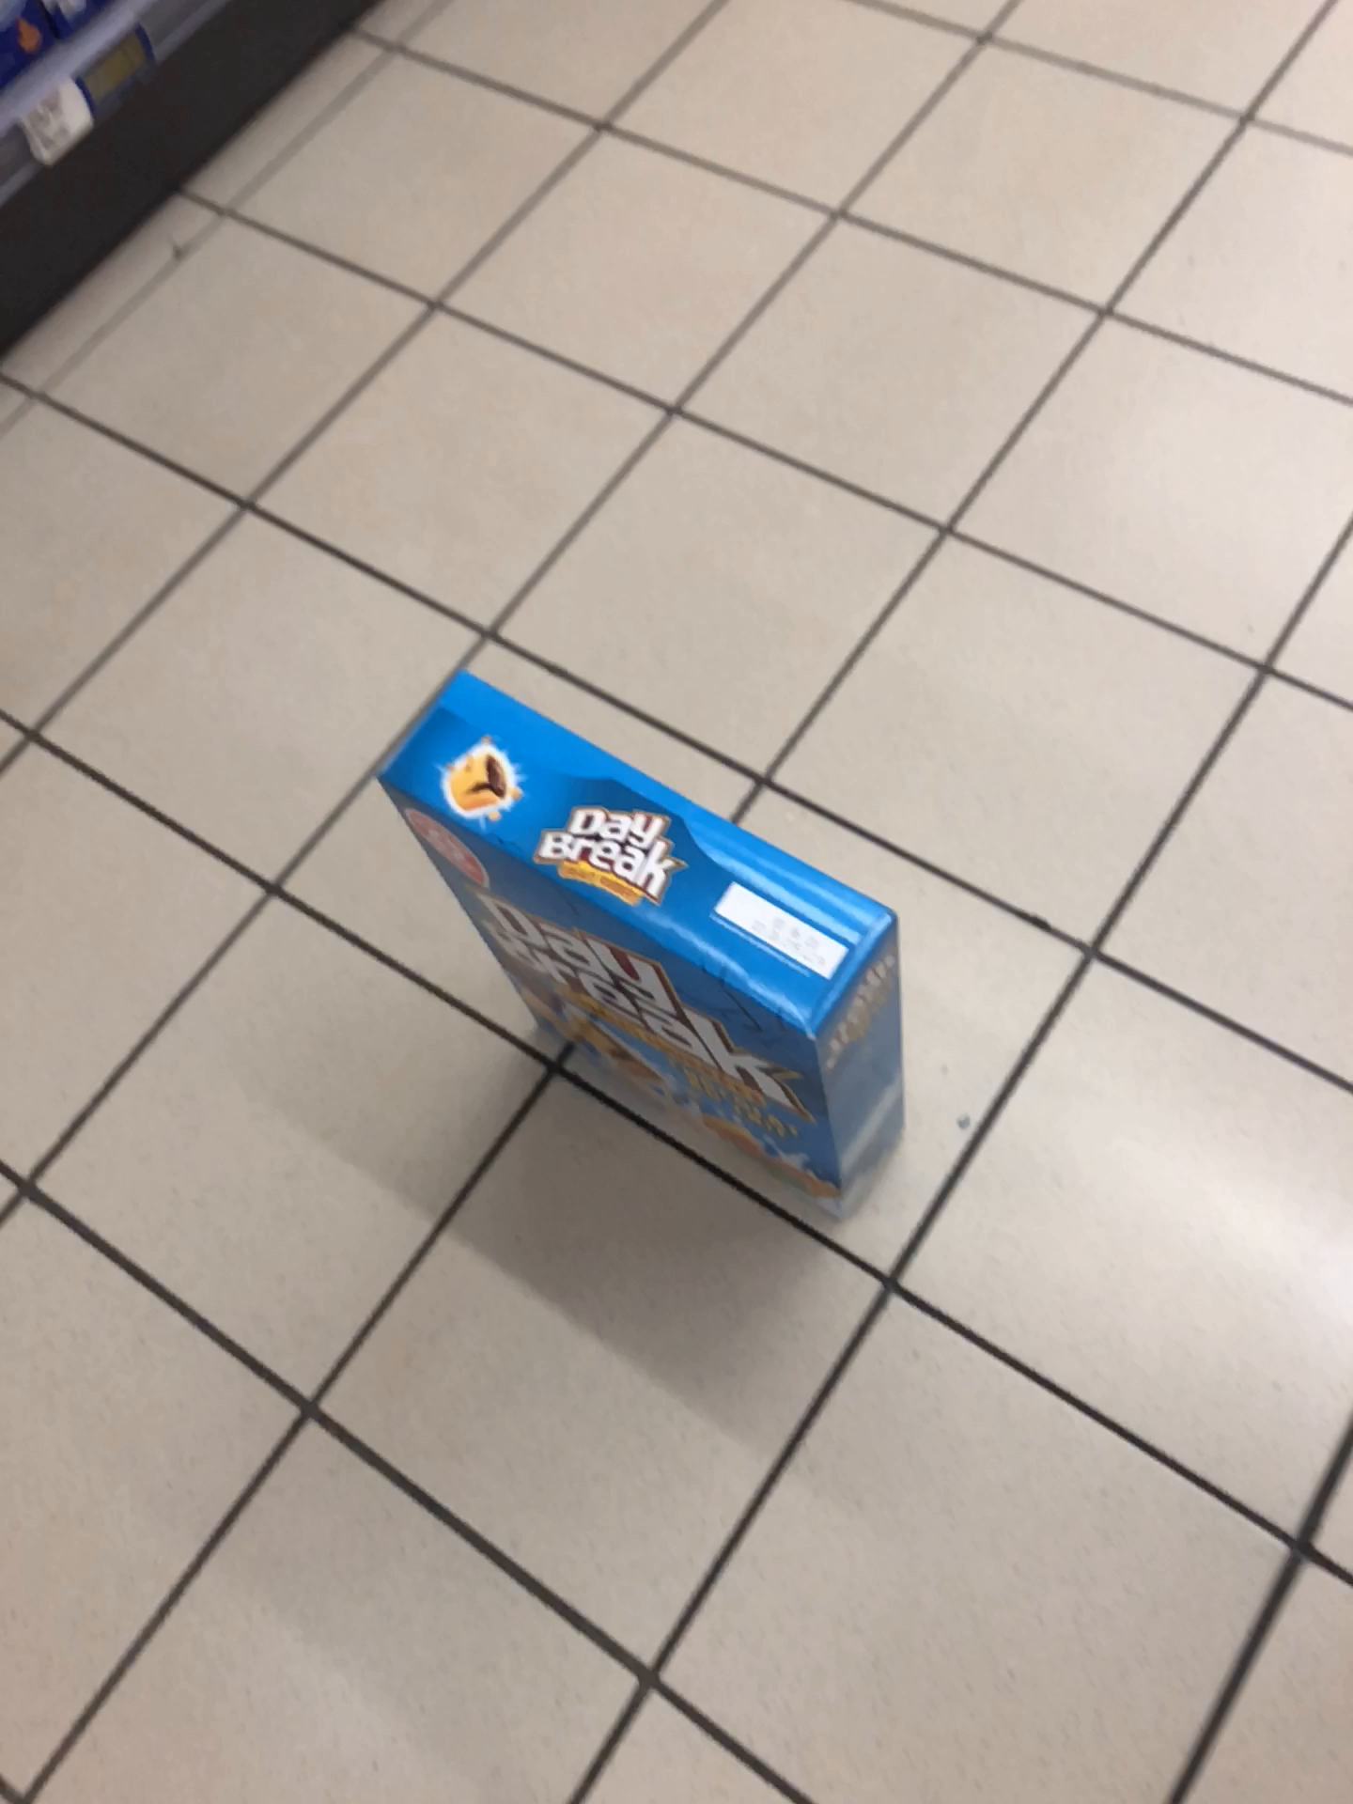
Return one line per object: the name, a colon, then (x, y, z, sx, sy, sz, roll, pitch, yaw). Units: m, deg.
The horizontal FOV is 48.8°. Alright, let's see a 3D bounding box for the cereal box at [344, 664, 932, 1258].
cereal box: (-0.001, 0.040, 0.628, 0.200, 0.259, 0.070, 30, 73, 19)
